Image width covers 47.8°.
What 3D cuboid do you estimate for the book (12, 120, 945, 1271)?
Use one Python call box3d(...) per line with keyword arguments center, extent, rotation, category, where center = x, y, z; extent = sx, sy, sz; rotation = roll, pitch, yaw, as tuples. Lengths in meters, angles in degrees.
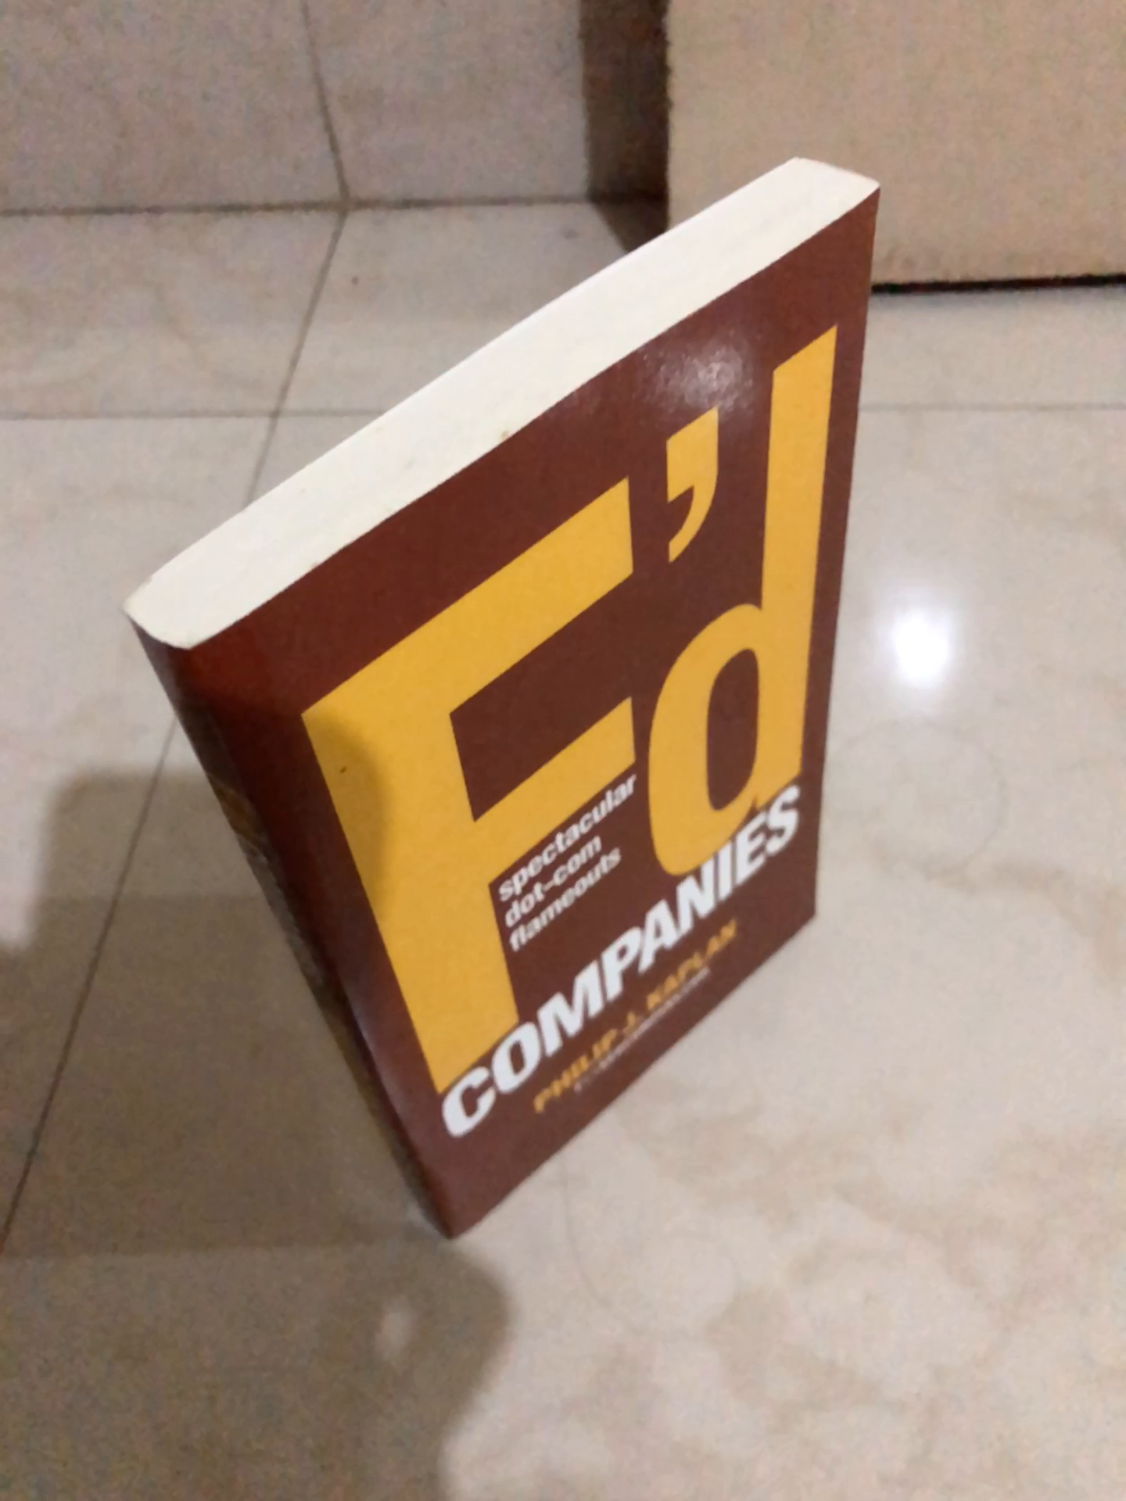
box3d(center=(0.003, 0.011, 0.239), extent=(0.130, 0.199, 0.030), rotation=(-37, 58, -22), category="book")
